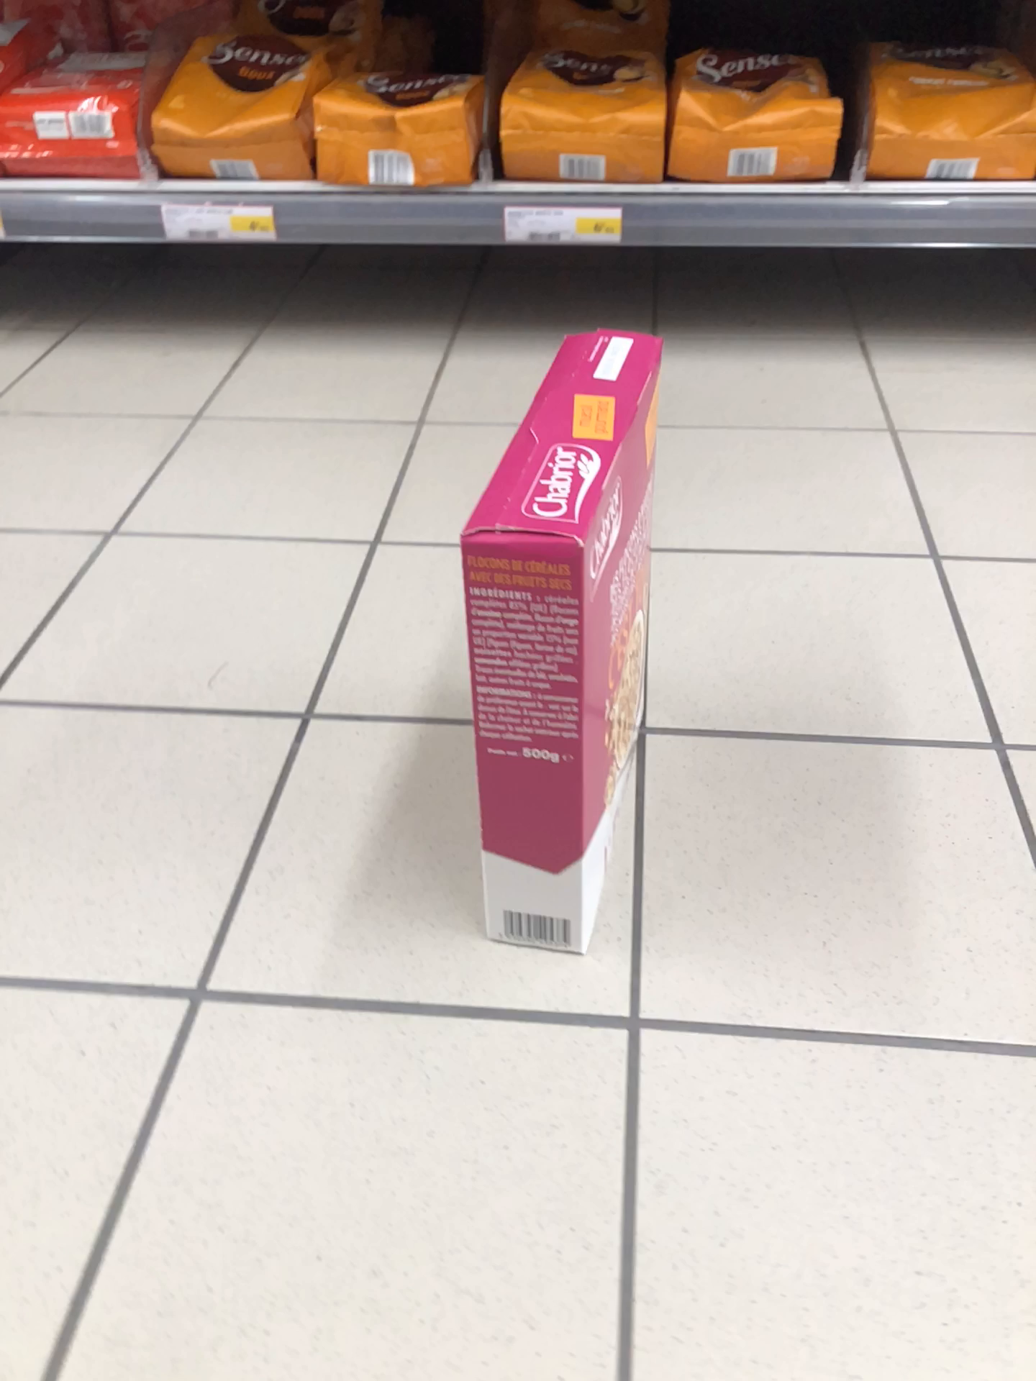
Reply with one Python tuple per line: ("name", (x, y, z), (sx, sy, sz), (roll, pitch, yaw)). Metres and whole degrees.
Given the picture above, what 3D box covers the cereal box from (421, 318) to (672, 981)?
("cereal box", (0.023, -0.025, 0.541), (0.060, 0.229, 0.211), (7, 38, 11))
